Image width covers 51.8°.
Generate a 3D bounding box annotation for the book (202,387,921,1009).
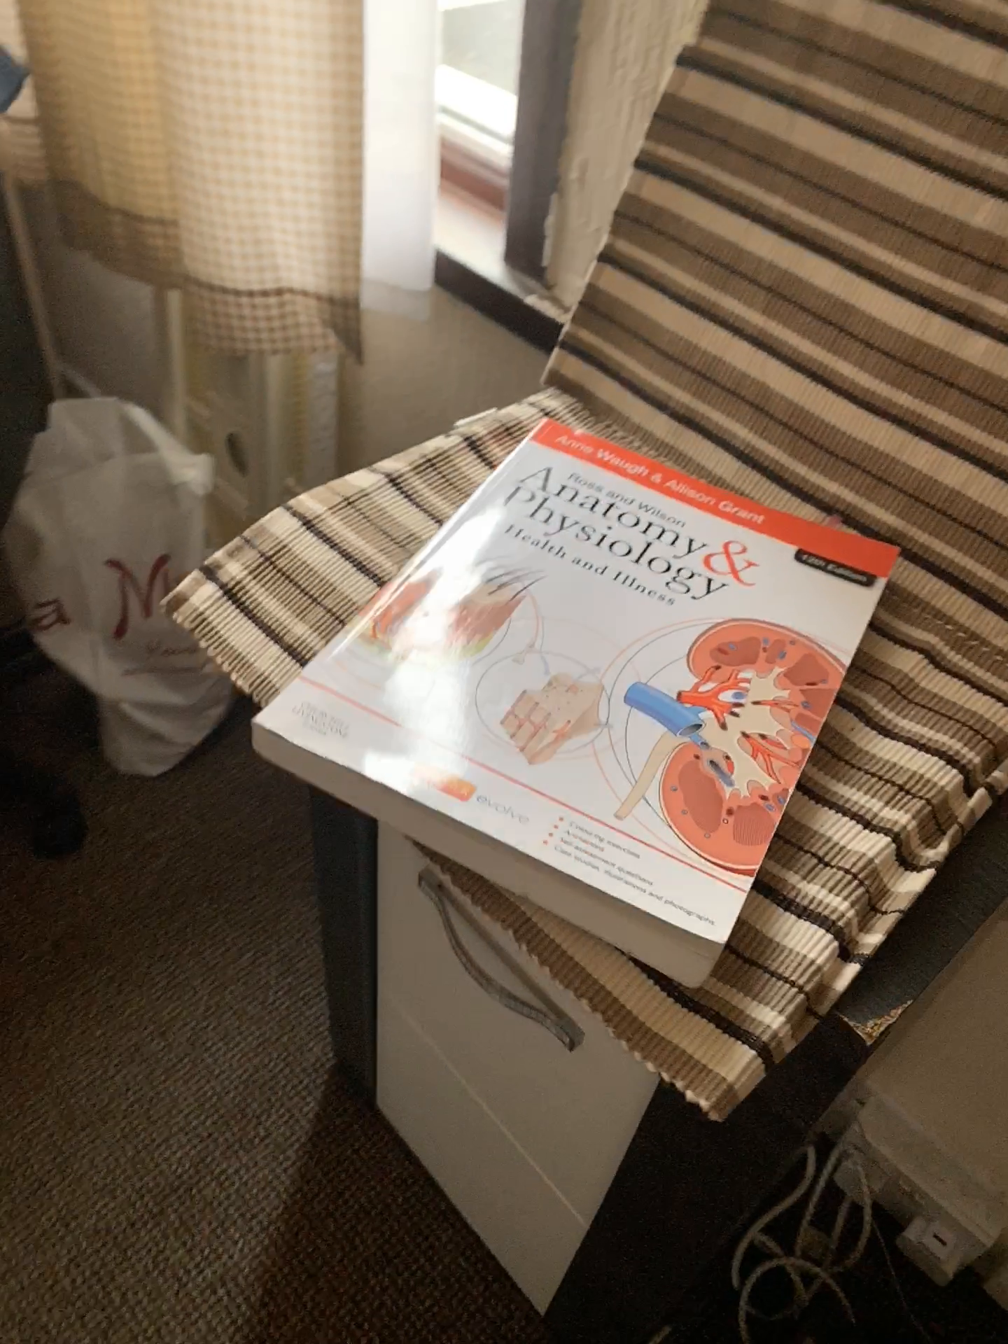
[{"bbox_3d":[0.045,-0.020,0.501,0.240,0.040,0.282,24,49,16],"label":"book"}]
